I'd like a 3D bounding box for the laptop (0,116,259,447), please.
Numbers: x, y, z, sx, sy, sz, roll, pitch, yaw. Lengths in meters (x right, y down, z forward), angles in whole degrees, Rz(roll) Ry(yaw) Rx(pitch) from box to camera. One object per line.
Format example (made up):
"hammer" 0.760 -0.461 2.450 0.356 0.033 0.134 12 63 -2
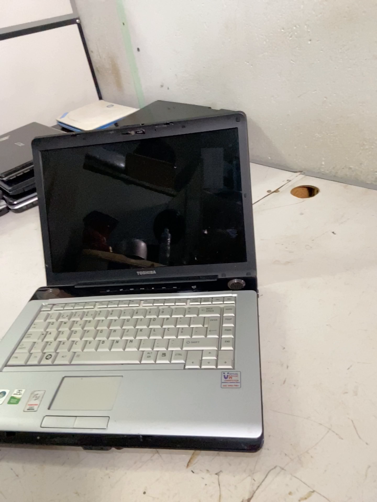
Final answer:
"laptop" -0.097 0.003 0.507 0.350 0.200 0.395 -4 34 11
